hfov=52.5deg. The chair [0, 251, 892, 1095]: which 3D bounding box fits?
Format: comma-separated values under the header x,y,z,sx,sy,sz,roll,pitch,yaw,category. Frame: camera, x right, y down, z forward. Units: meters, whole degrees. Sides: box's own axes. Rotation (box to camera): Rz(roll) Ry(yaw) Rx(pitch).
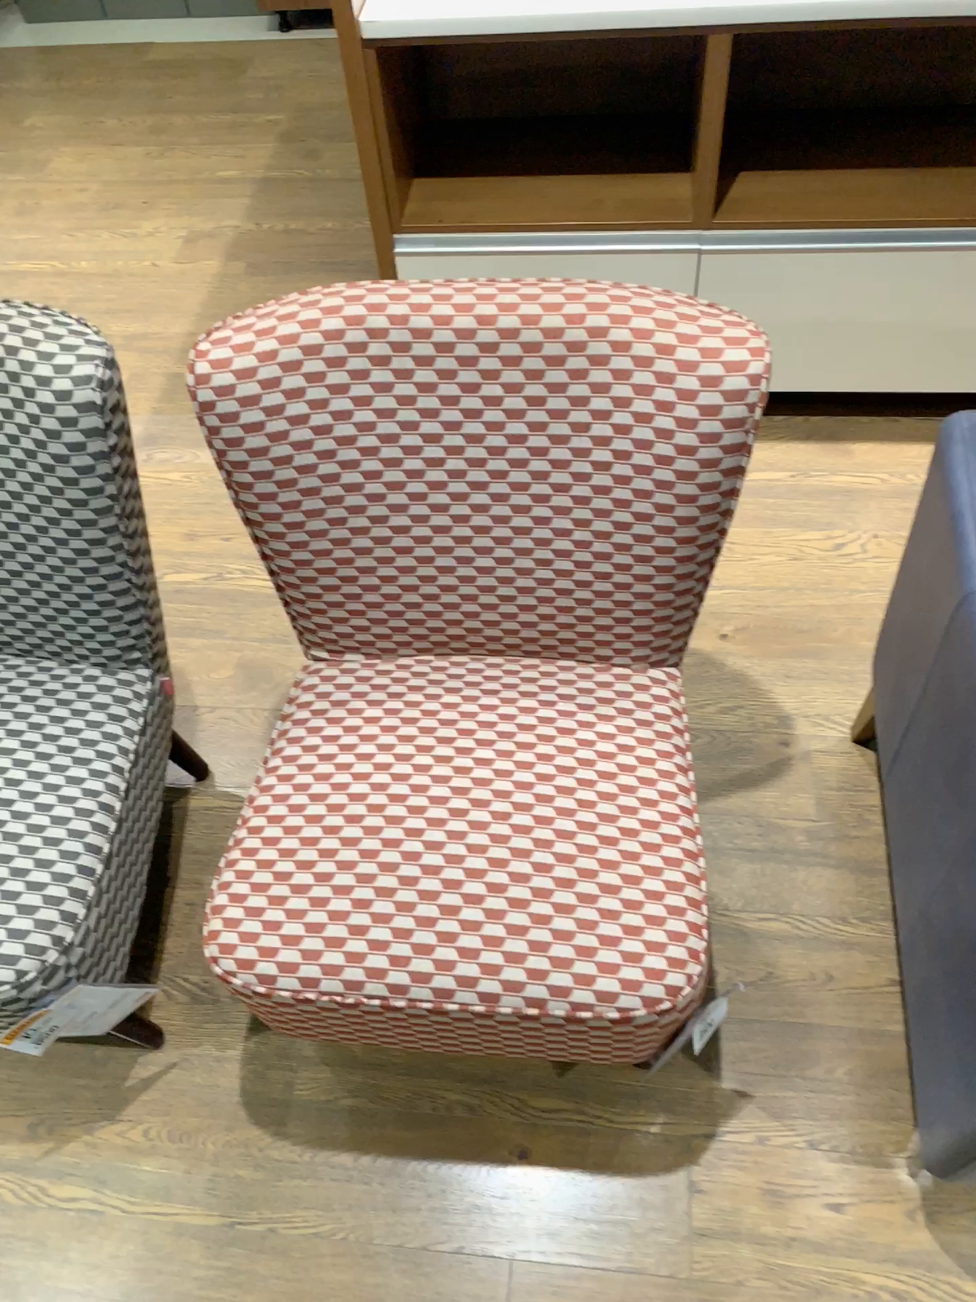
x,y,z,sx,sy,sz,roll,pitch,yaw,category
-0.022,0.083,1.221,0.700,0.867,0.612,2,53,6,chair
